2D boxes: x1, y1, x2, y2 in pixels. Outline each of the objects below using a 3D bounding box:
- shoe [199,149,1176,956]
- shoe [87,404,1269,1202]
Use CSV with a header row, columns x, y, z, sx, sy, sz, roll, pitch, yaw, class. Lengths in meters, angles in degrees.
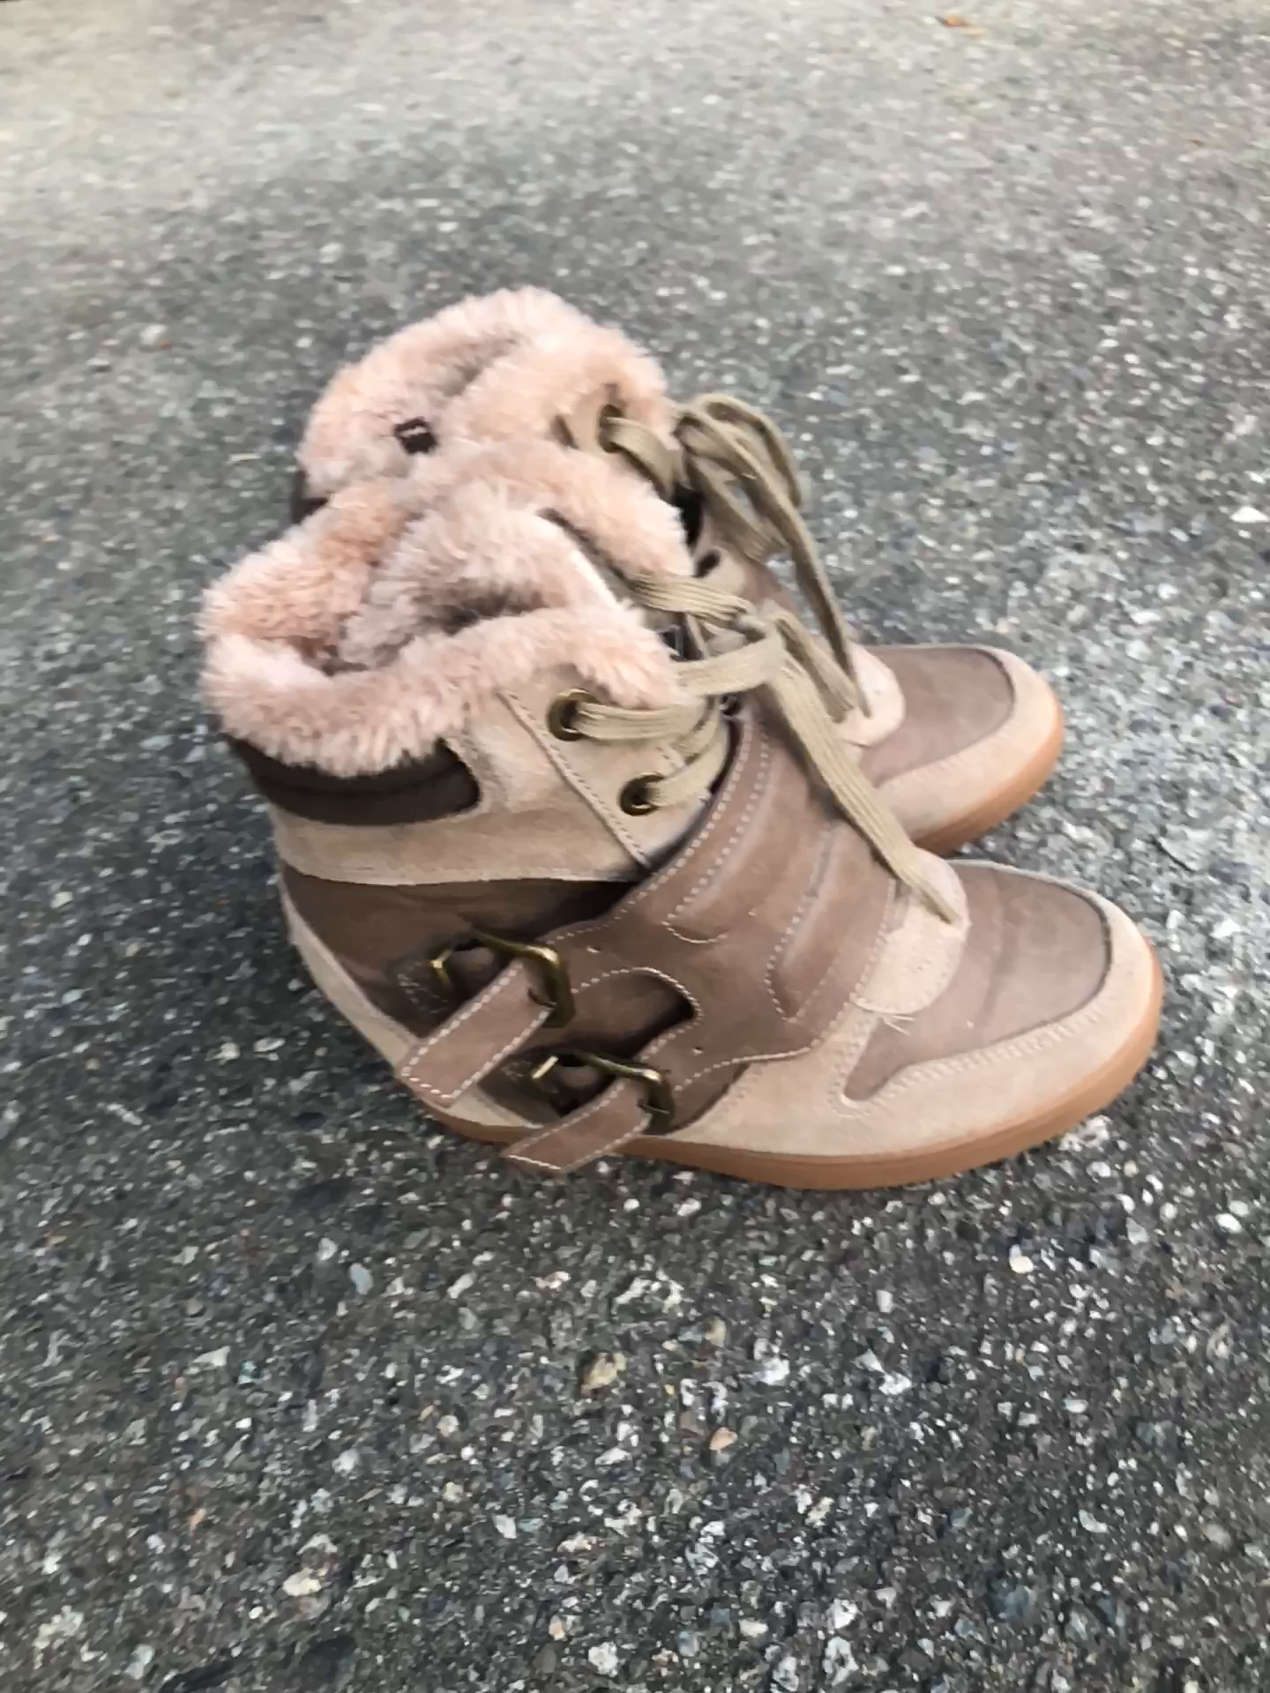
x,y,z,sx,sy,sz,roll,pitch,yaw,class
0.021,-0.078,0.425,0.230,0.179,0.101,-9,46,5,shoe
0.022,0.003,0.354,0.230,0.179,0.091,-2,48,11,shoe
